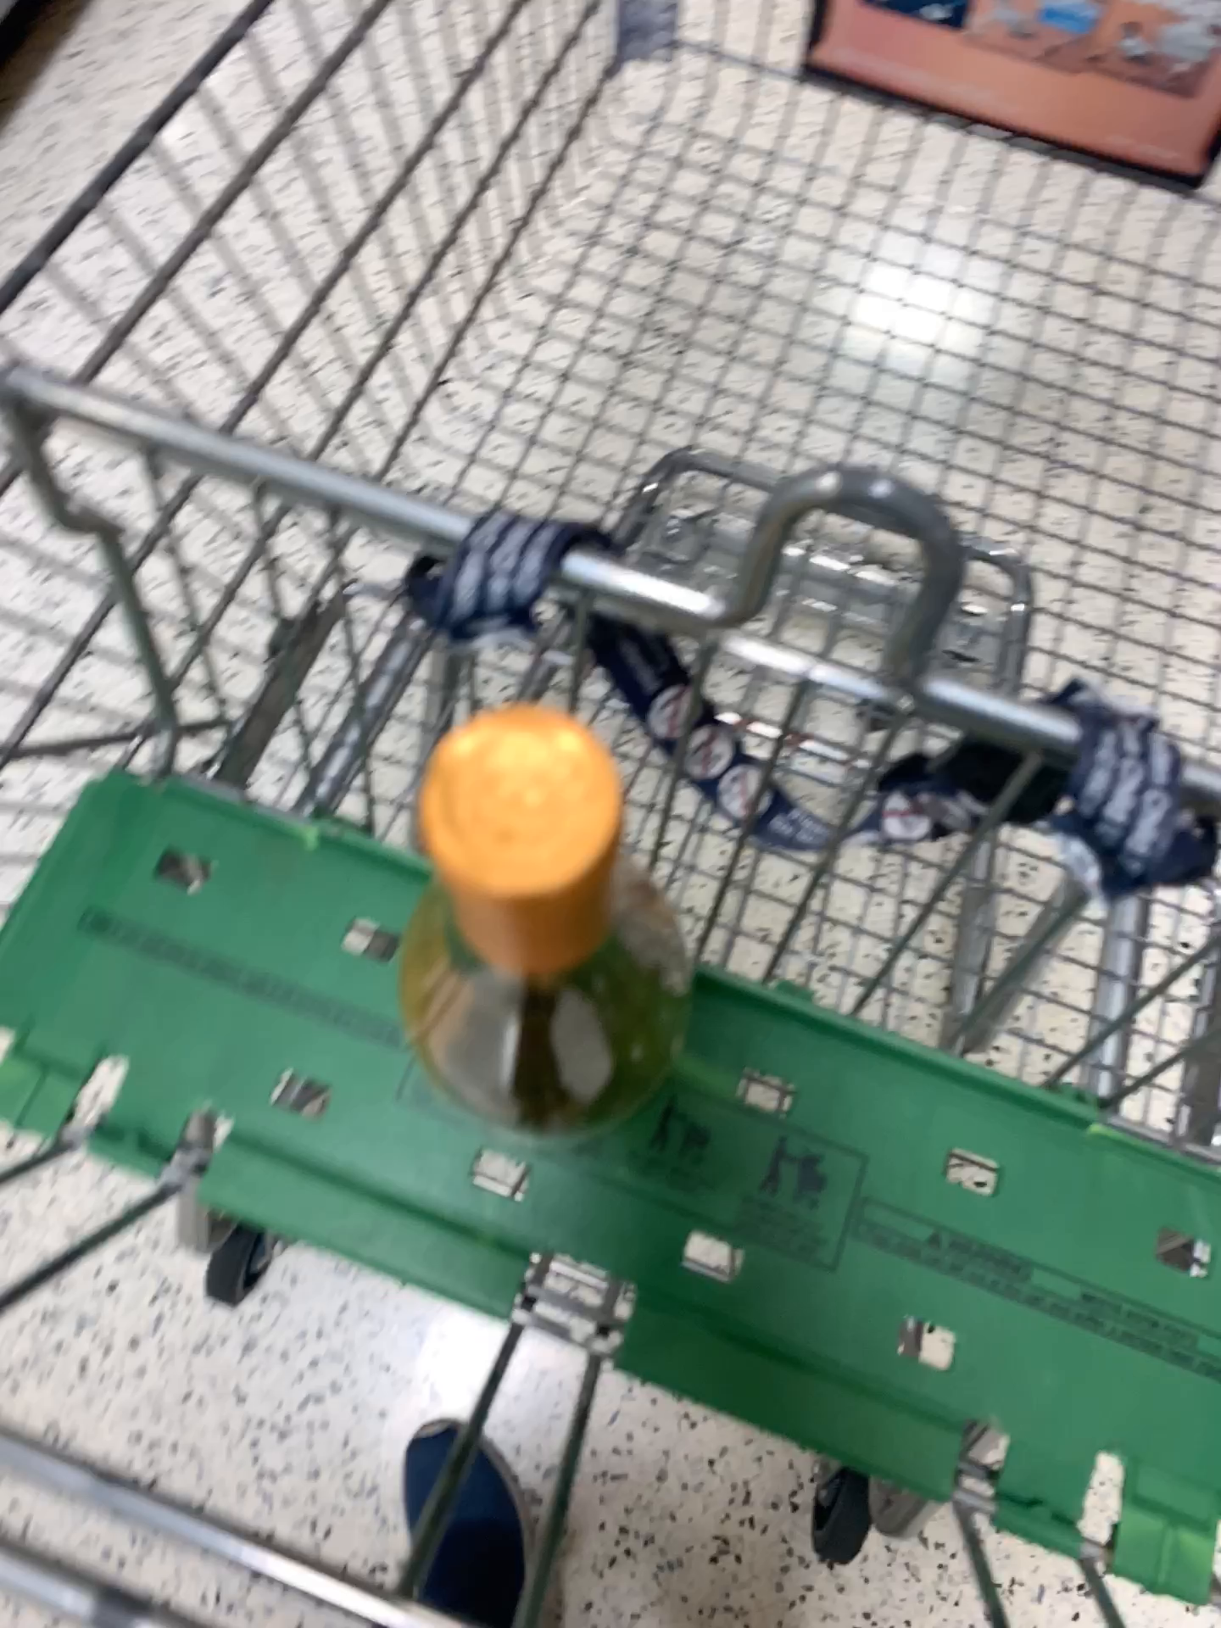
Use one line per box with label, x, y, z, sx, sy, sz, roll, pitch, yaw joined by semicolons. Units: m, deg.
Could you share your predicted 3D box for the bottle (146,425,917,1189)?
bottle;-0.018;0.036;0.325;0.083;0.299;0.087;1;72;-2
